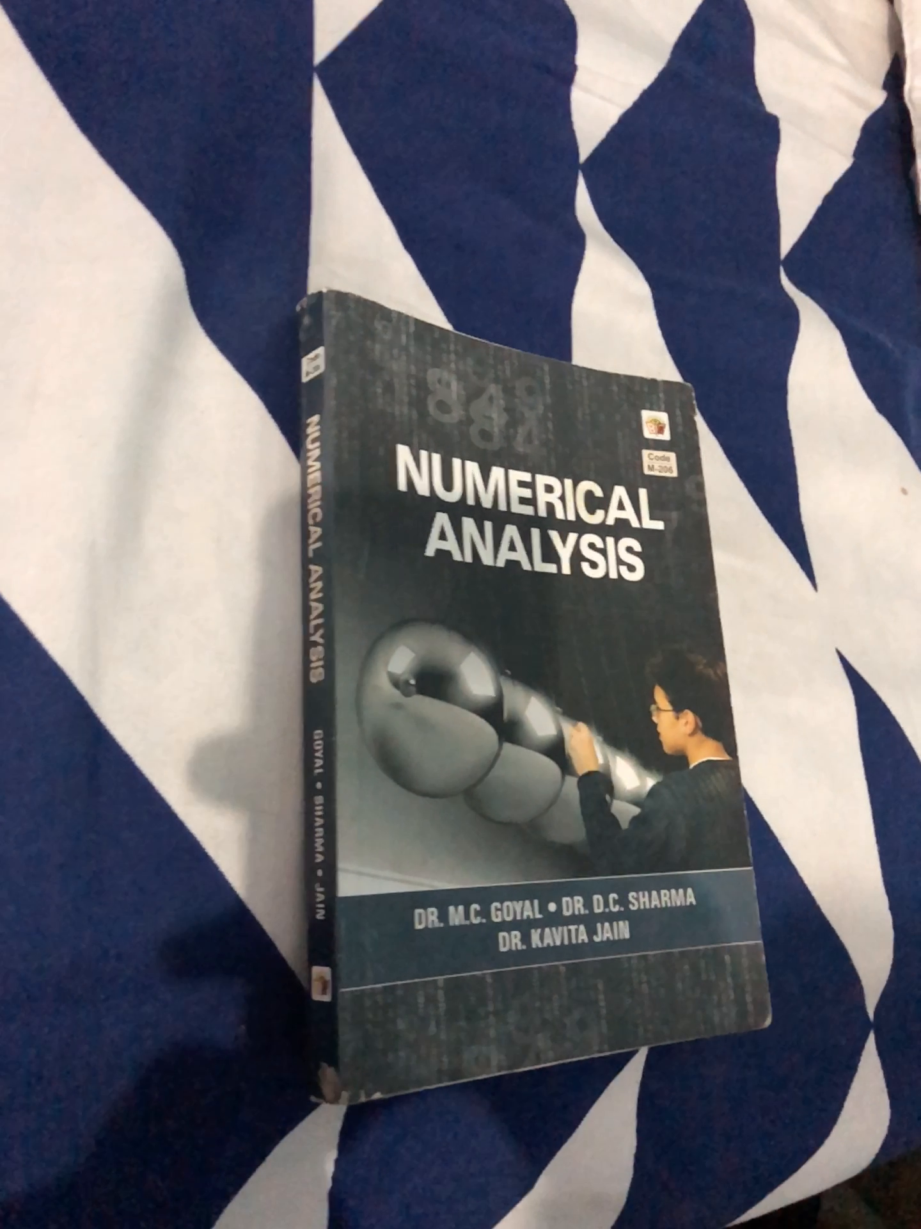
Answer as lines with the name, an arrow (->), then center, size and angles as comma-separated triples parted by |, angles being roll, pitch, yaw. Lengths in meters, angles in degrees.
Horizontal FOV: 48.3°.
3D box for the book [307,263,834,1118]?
book -> 0.031, 0.017, 0.276 | 0.140, 0.030, 0.190 | 5, 76, -32
